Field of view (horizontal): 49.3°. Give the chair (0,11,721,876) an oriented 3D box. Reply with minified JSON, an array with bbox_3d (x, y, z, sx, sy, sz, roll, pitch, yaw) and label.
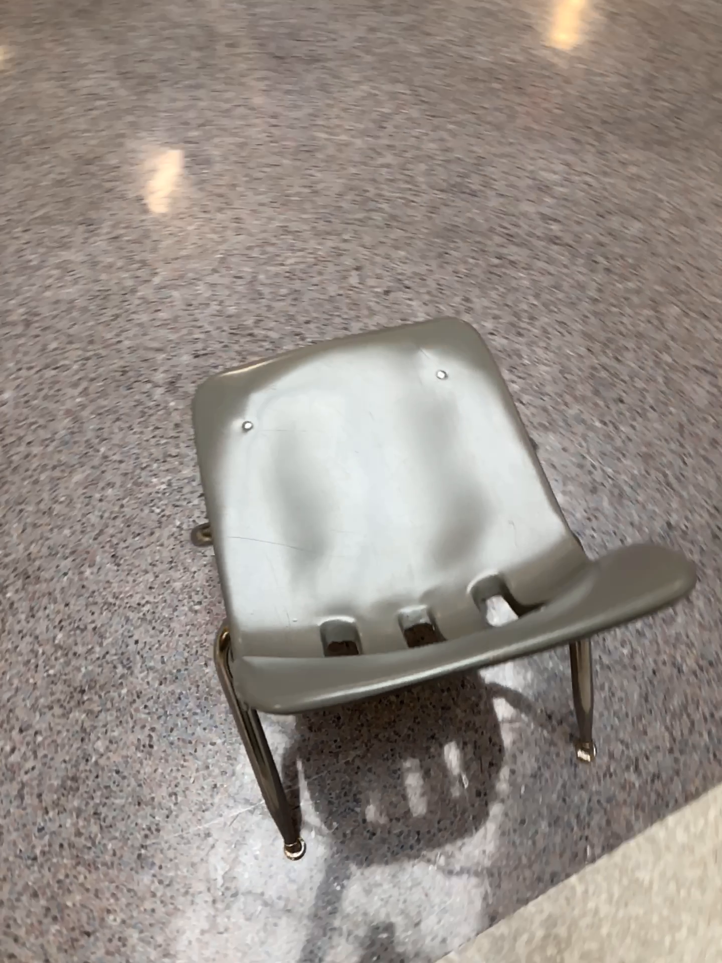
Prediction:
[{"bbox_3d":[0.007,0.033,0.843,0.510,0.667,0.552,-15,62,-6],"label":"chair"}]
